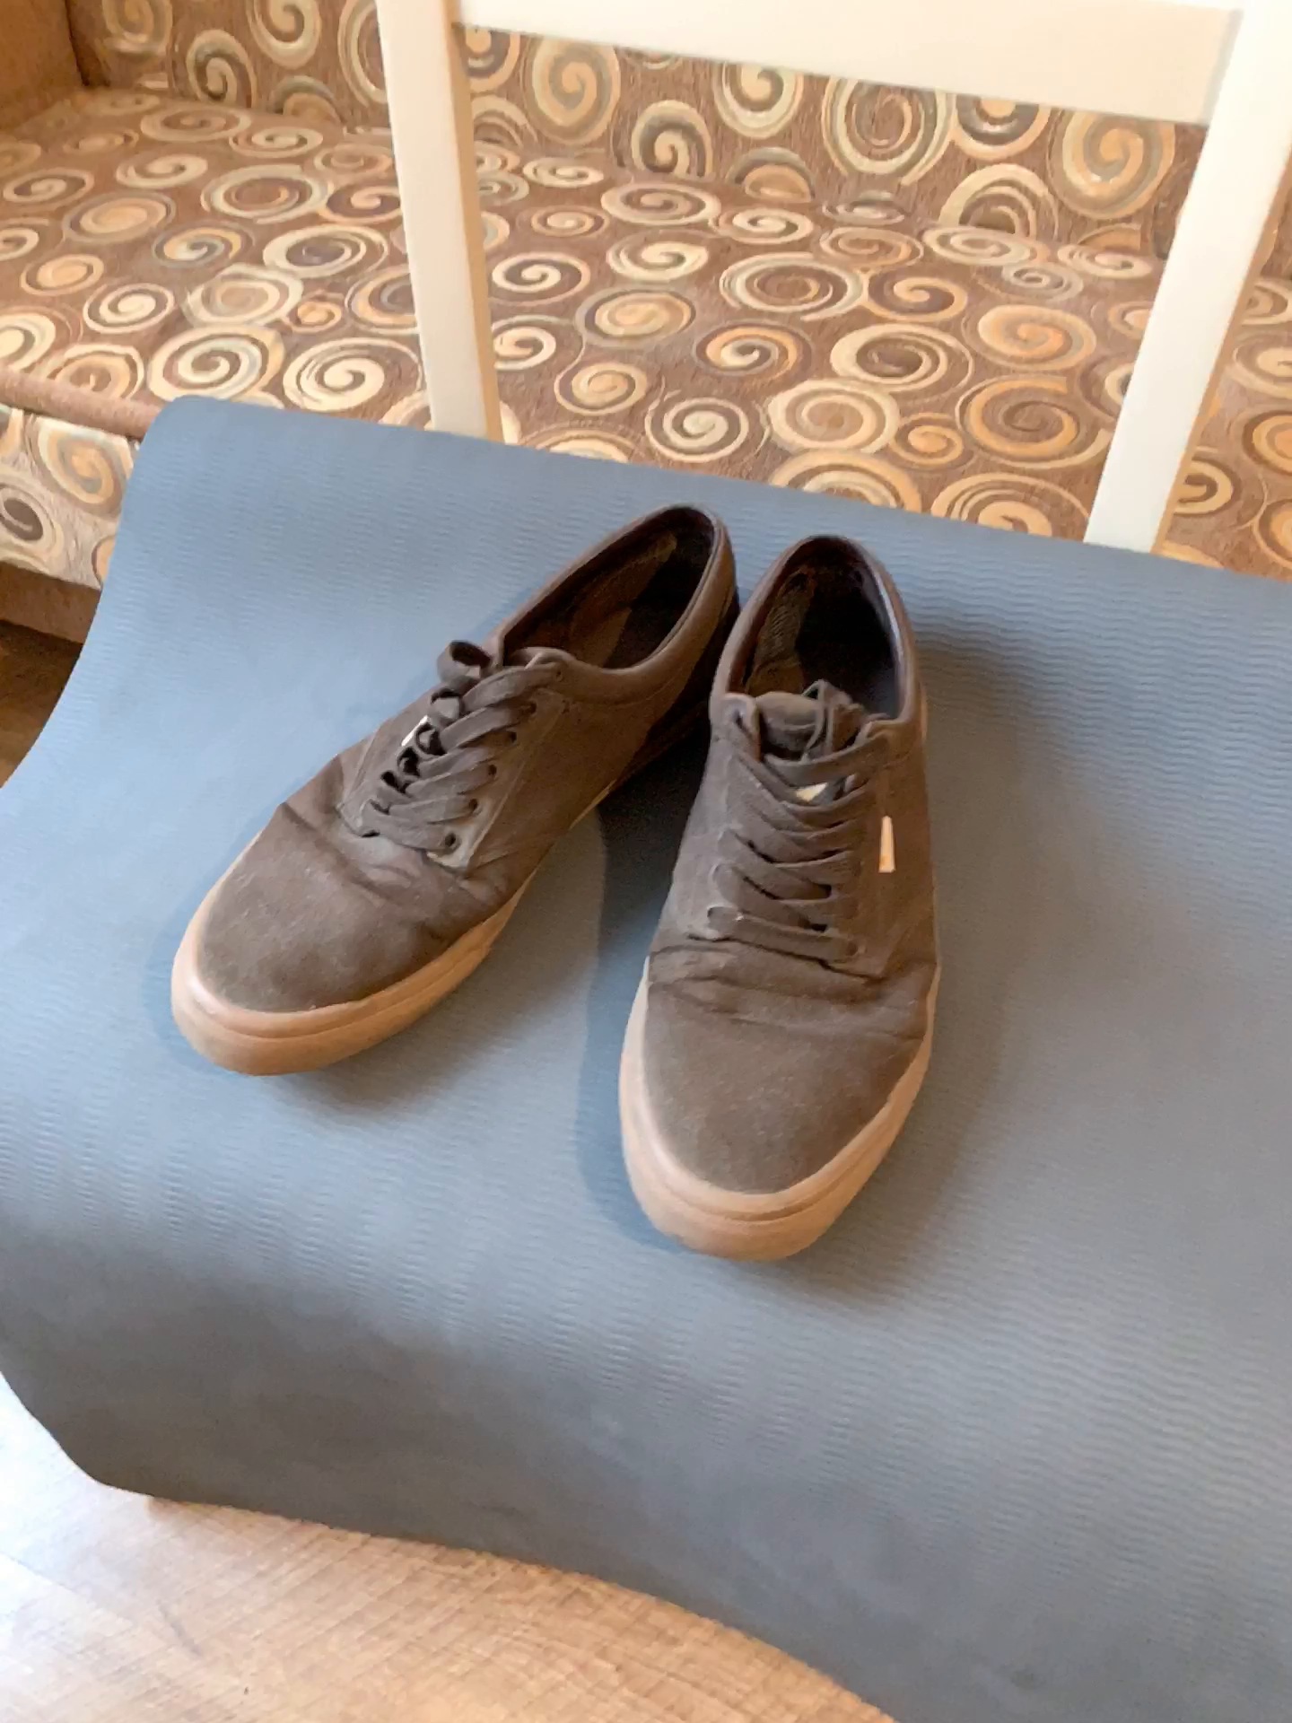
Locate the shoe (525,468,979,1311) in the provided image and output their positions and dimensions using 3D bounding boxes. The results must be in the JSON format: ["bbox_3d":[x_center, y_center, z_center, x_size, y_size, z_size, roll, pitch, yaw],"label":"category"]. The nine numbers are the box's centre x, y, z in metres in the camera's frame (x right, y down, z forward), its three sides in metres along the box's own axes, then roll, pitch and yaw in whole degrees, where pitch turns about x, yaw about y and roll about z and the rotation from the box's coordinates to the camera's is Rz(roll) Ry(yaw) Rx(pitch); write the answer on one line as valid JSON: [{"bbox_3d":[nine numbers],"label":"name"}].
[{"bbox_3d":[0.053,-0.013,0.496,0.110,0.080,0.321,8,53,9],"label":"shoe"}]

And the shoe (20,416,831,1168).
[{"bbox_3d":[-0.066,-0.049,0.543,0.110,0.080,0.341,31,59,23],"label":"shoe"}]
